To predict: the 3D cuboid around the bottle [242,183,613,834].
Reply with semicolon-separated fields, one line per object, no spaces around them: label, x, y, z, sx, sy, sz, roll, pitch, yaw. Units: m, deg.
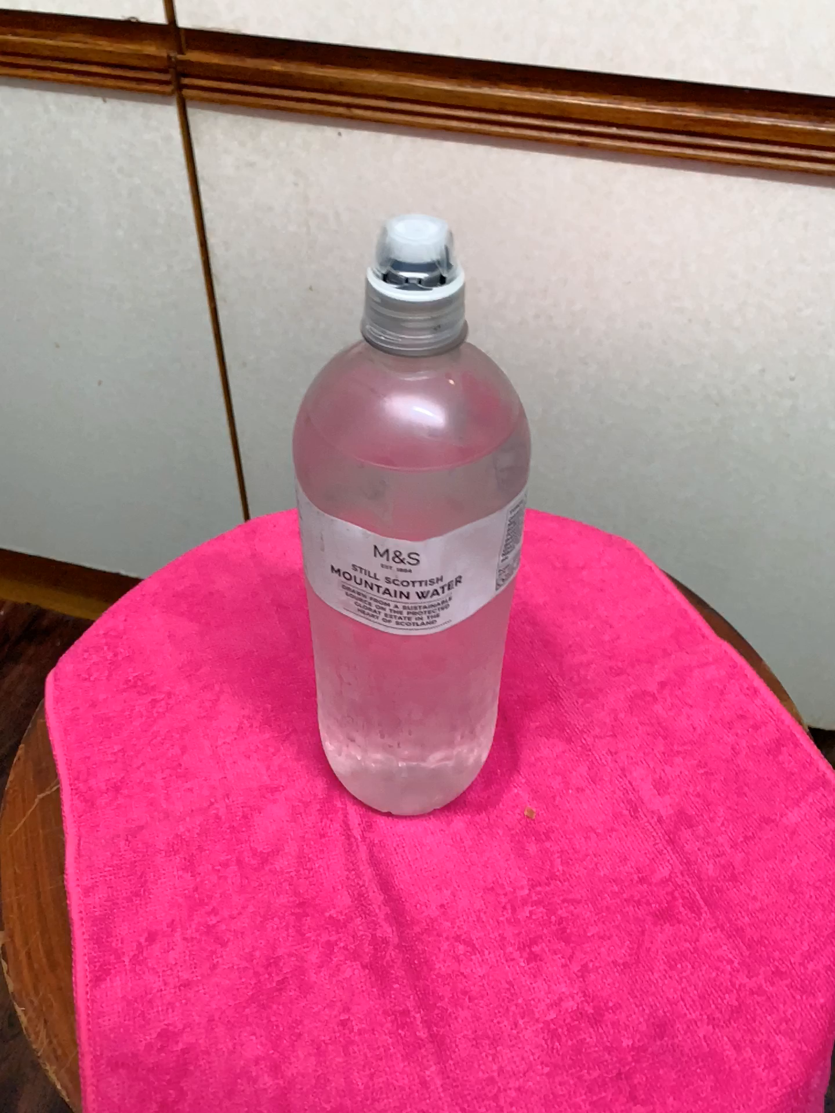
bottle;-0.001;0.006;0.327;0.090;0.258;0.081;1;45;-1
